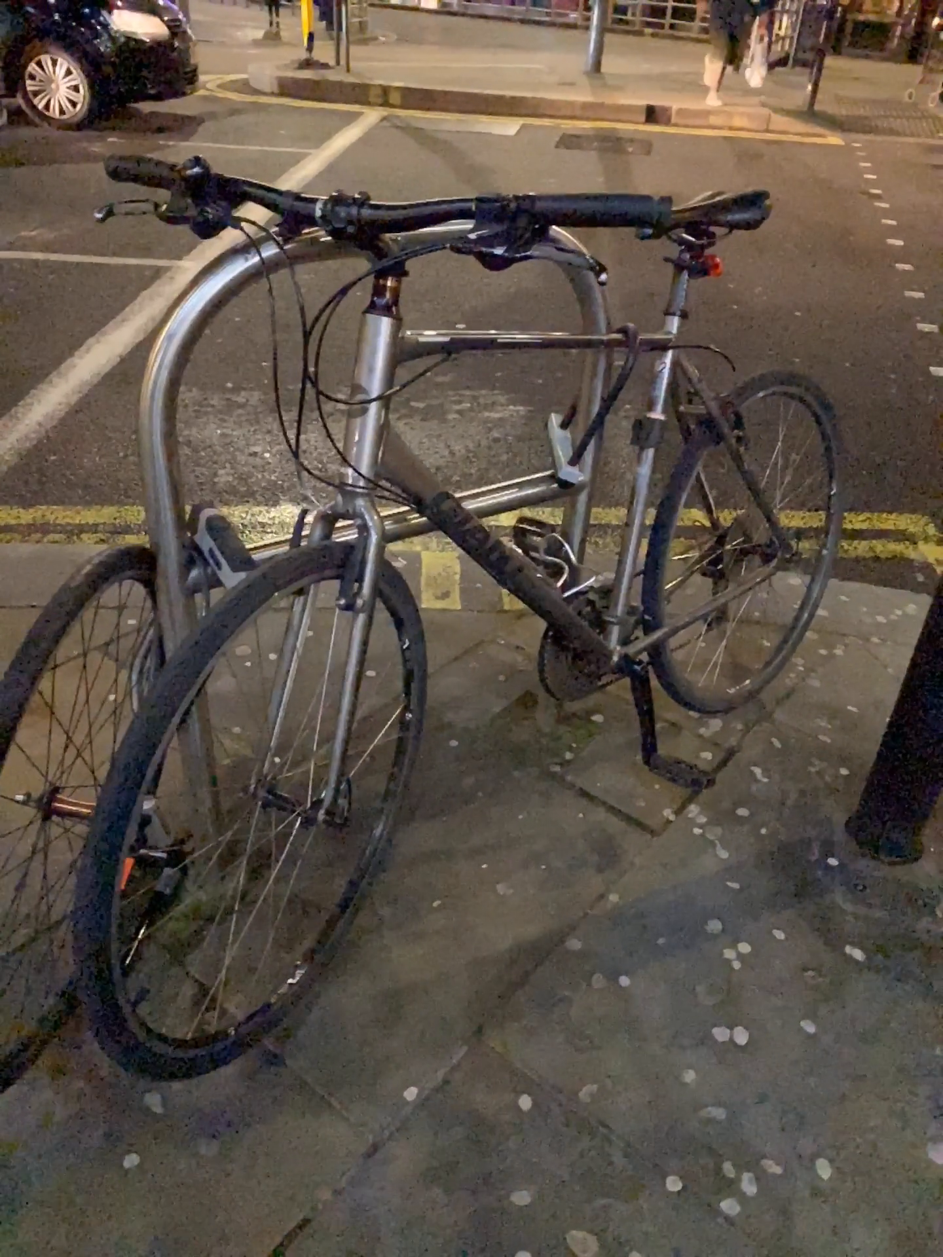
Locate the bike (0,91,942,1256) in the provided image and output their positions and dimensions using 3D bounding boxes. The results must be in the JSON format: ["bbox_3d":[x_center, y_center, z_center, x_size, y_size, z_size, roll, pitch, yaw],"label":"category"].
[{"bbox_3d":[0.088,-0.189,1.562,0.710,1.124,1.826,29,41,33],"label":"bike"}]
